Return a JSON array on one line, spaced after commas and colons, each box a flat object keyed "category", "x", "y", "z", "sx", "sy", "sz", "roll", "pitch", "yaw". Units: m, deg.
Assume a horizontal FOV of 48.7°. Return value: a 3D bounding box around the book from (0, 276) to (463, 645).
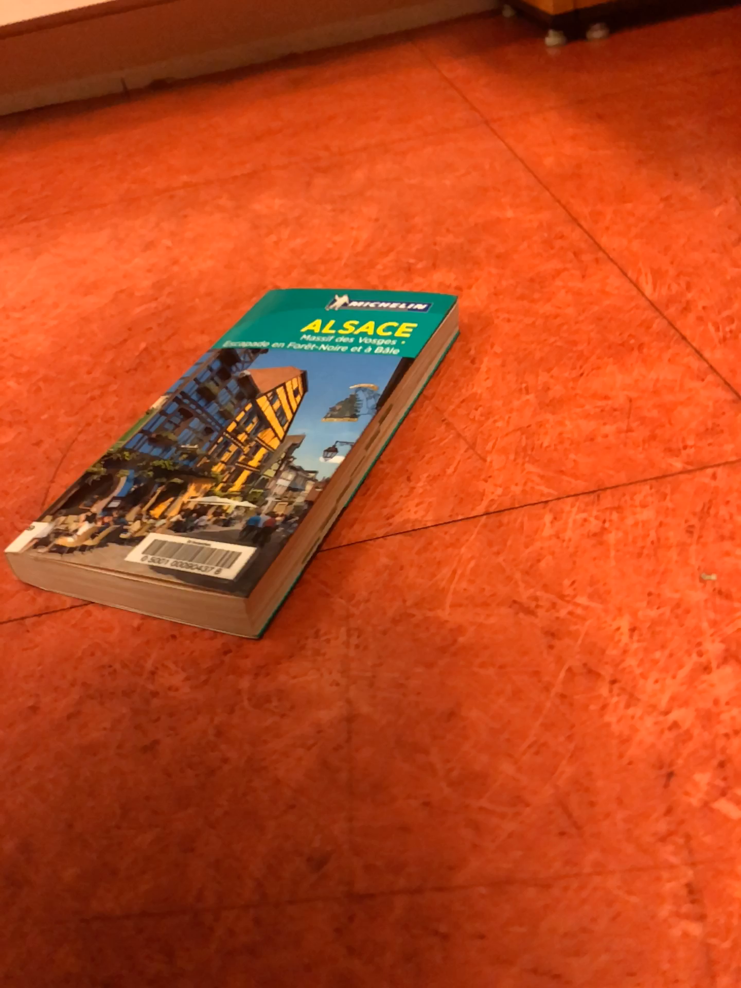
[{"category": "book", "x": -0.050, "y": -0.035, "z": 0.364, "sx": 0.116, "sy": 0.030, "sz": 0.214, "roll": 8, "pitch": 42, "yaw": 25}]
